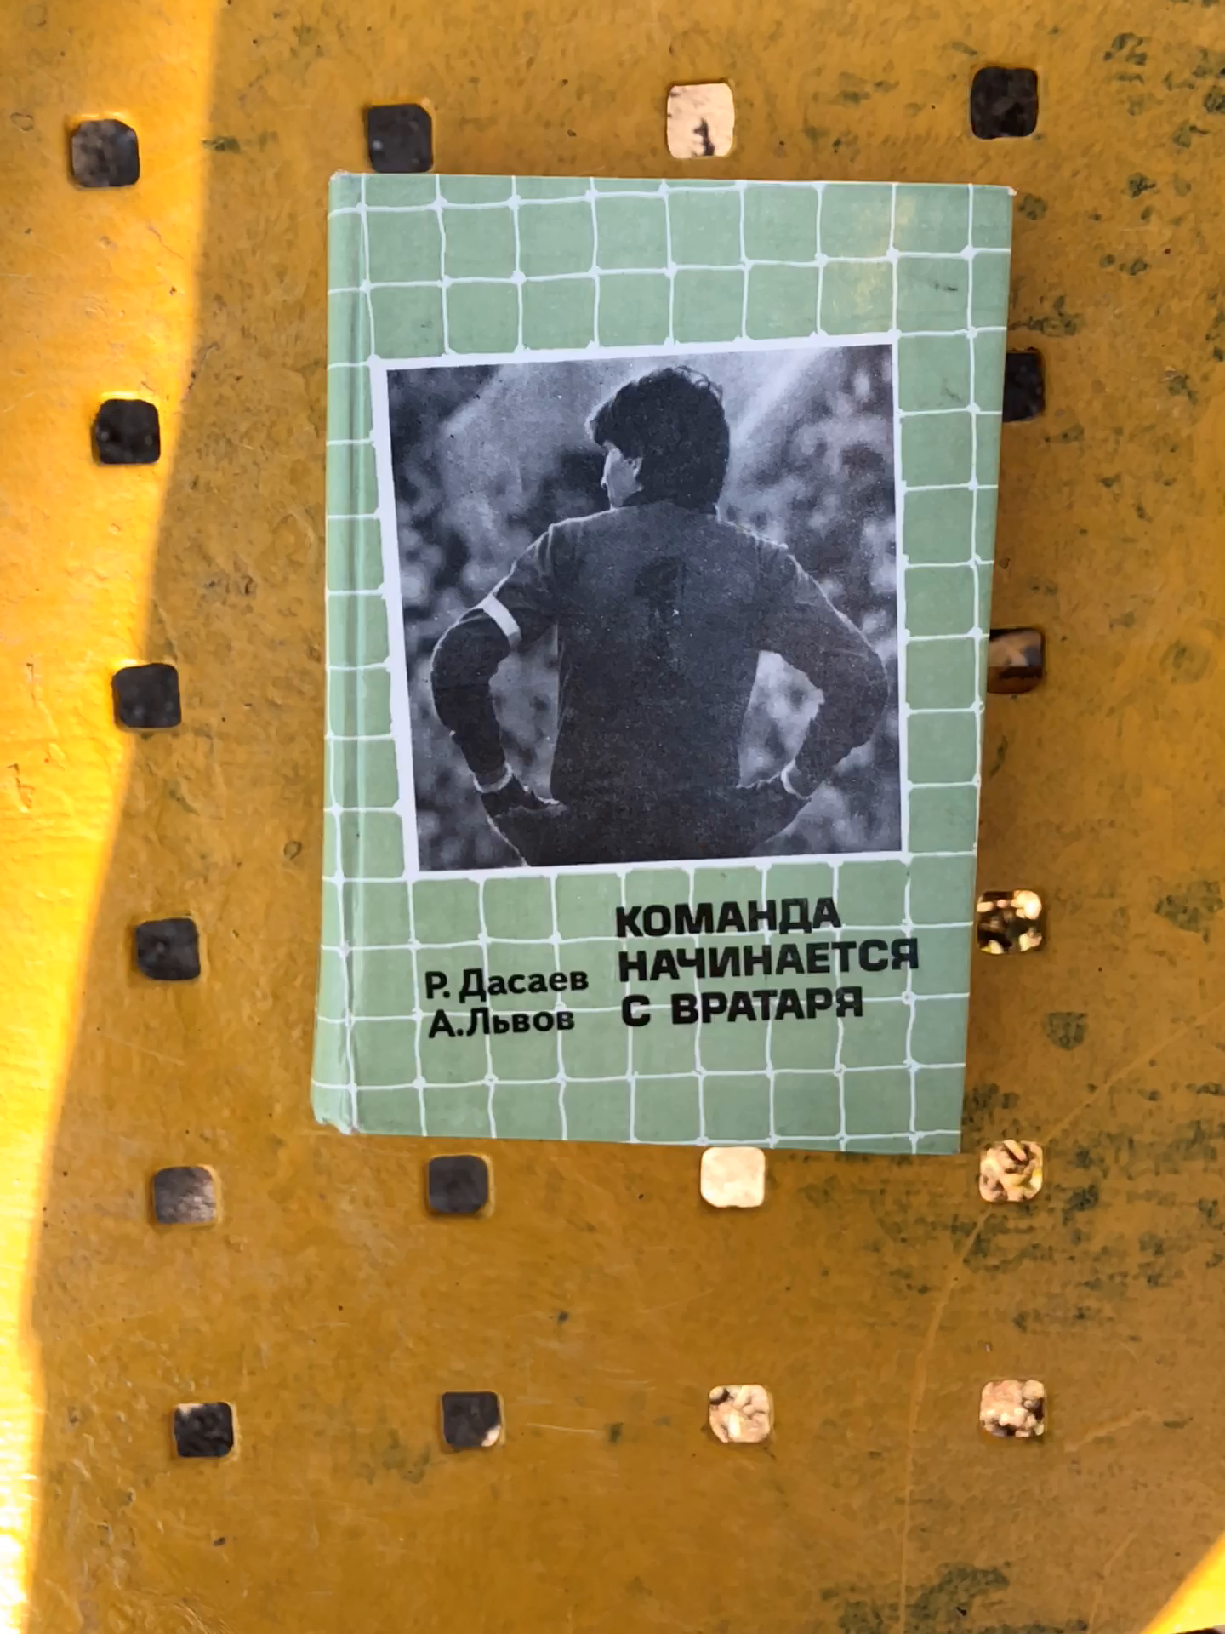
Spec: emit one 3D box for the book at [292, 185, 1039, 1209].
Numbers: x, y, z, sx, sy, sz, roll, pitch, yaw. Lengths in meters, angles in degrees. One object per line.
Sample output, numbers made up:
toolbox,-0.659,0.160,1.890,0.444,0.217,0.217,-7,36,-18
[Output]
book,0.006,-0.019,0.240,0.117,0.030,0.164,2,96,2
